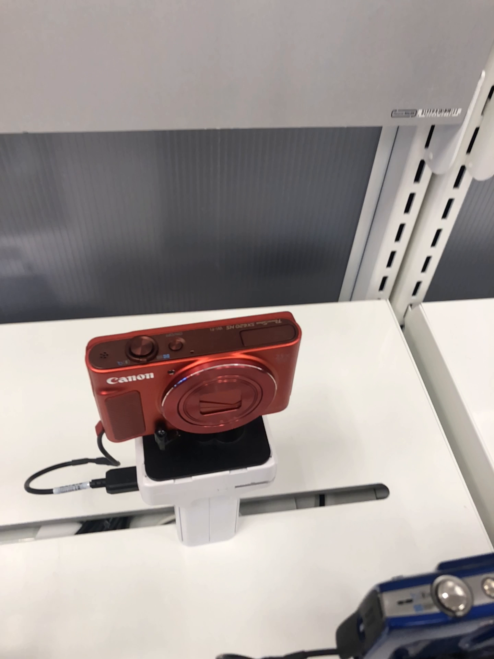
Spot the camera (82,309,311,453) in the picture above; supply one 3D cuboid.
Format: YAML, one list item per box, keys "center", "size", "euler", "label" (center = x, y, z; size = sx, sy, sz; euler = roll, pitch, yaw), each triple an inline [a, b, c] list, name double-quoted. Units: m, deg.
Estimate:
- center: [-0.023, 0.024, 0.257]
  size: [0.096, 0.053, 0.028]
  euler: [-8, 49, -10]
  label: "camera"
